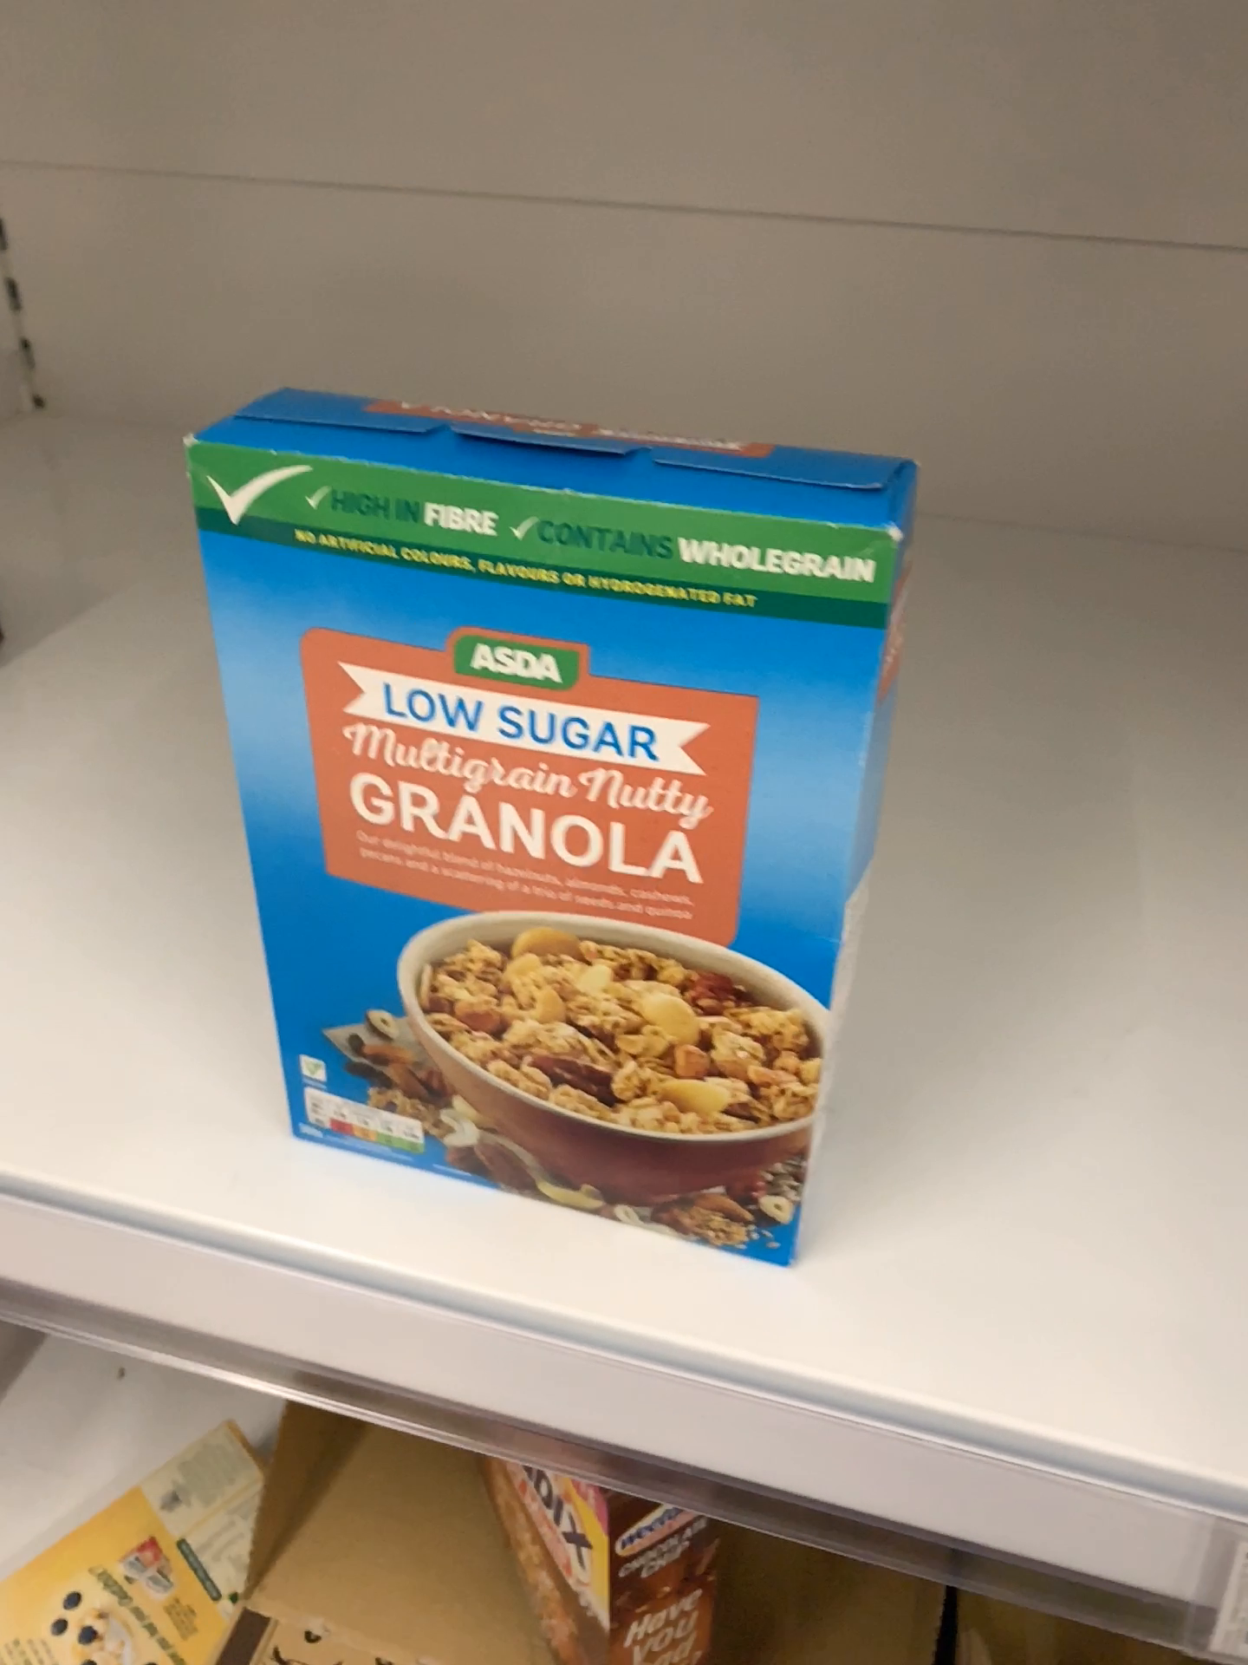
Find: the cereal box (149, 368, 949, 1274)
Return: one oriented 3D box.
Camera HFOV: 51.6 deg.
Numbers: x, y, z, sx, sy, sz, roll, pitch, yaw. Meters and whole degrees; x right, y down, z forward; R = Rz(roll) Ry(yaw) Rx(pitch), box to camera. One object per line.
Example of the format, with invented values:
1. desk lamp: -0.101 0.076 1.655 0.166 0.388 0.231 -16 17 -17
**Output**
1. cereal box: -0.021 0.004 0.390 0.190 0.248 0.061 11 35 14
